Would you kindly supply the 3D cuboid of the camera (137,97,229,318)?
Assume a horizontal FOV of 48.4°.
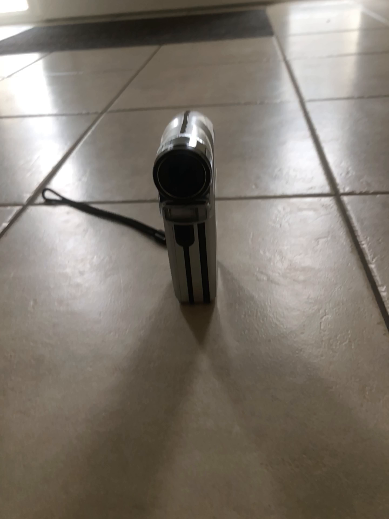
[{"bbox_3d":[-0.002,-0.033,0.269,0.040,0.109,0.080,-3,34,4],"label":"camera"}]
